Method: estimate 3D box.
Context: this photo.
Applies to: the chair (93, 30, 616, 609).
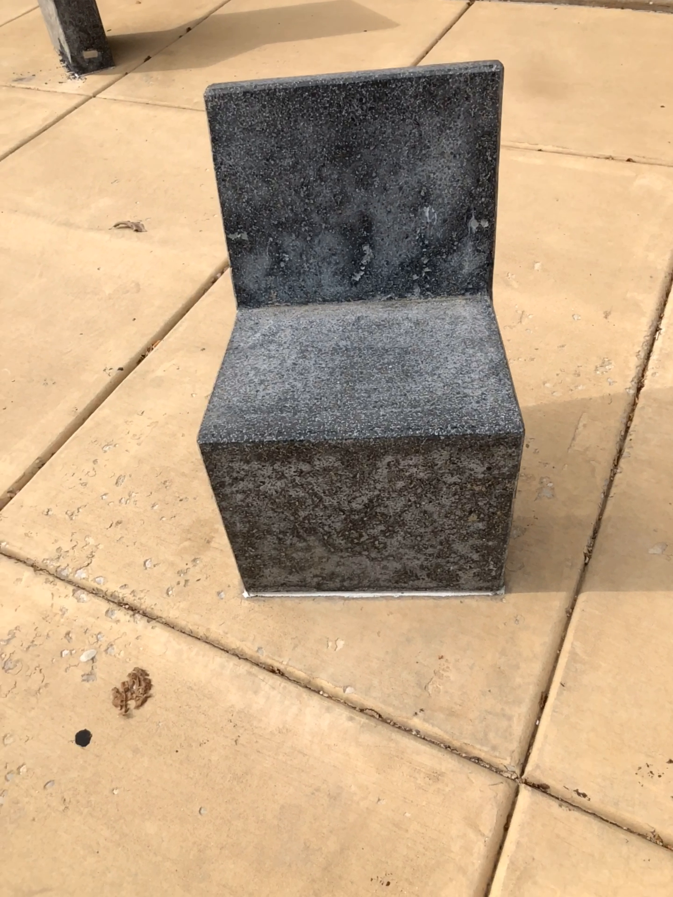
[{"bbox_3d":[0.039,-0.205,1.272,0.570,0.798,0.561,-1,39,3],"label":"chair"}]
